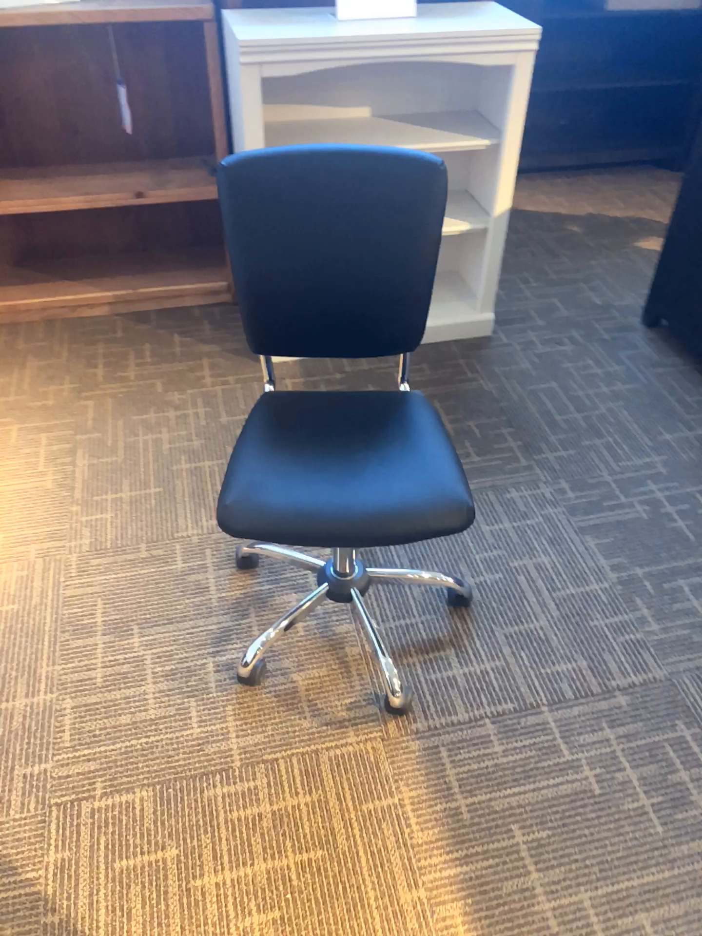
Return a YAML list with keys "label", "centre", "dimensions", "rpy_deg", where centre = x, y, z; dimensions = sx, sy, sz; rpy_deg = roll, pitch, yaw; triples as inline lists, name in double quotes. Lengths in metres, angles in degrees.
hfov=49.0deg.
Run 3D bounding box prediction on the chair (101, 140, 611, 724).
- label: "chair"
  centre: [-0.005, -0.050, 1.365]
  dimensions: [0.573, 0.826, 0.610]
  rpy_deg: [0, 41, -2]
